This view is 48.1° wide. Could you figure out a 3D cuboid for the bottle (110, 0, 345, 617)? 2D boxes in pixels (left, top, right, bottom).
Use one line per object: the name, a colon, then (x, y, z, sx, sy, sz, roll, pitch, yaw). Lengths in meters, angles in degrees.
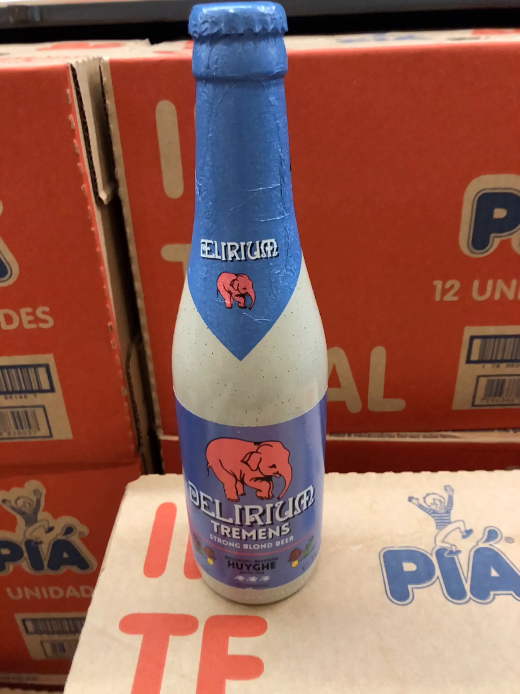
bottle: (-0.002, -0.002, 0.221, 0.060, 0.218, 0.060, -2, 26, 1)
